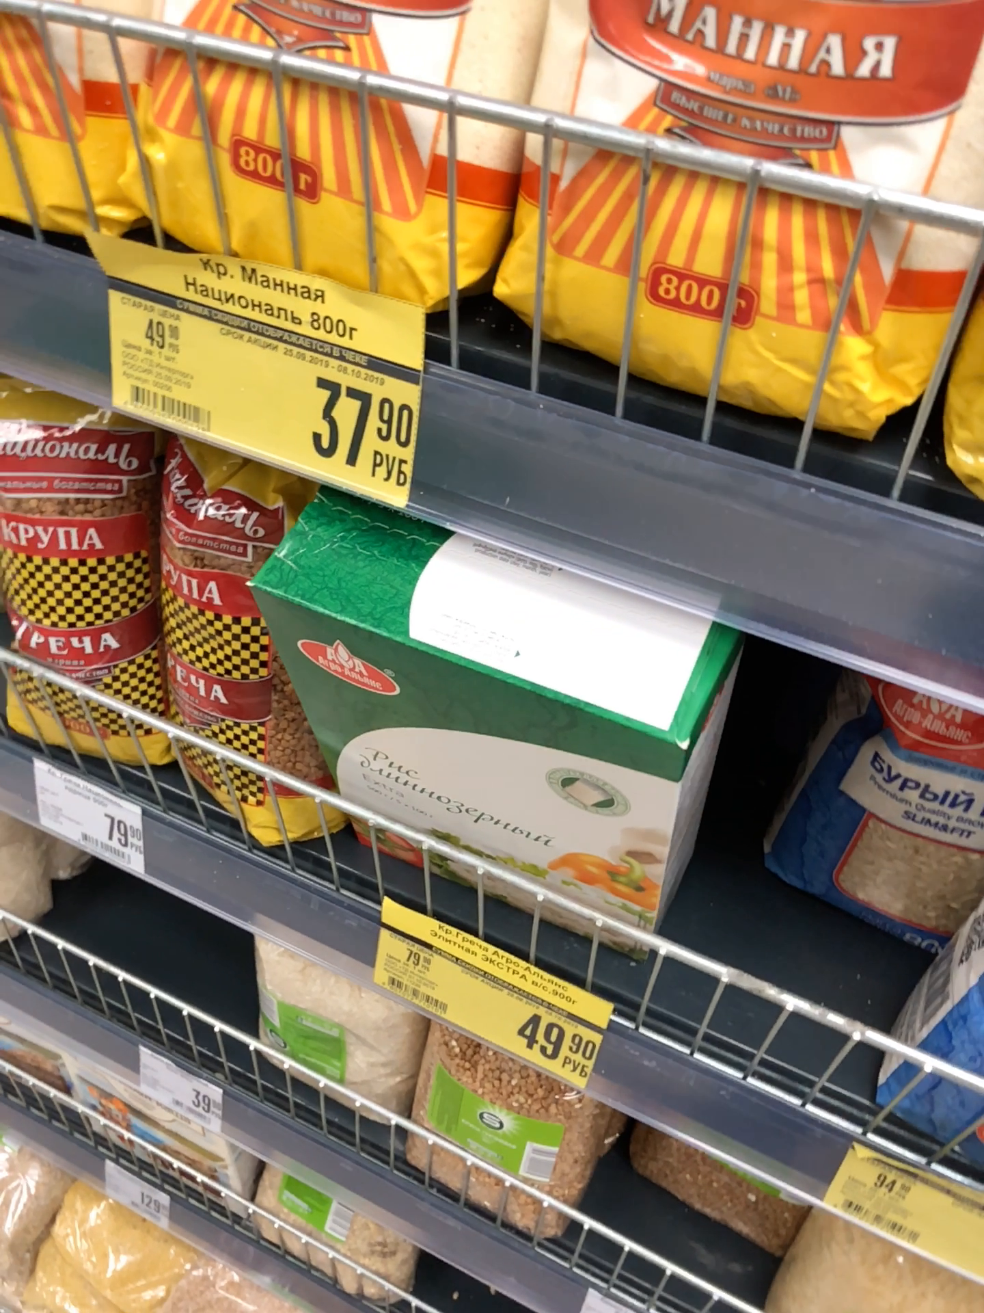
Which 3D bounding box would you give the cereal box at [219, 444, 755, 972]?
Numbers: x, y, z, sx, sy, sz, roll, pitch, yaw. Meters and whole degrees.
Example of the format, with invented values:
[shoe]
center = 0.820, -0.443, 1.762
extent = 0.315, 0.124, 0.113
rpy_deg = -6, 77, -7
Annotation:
[cereal box]
center = 0.004, 0.033, 0.389
extent = 0.140, 0.209, 0.050
rpy_deg = 20, 63, 16
